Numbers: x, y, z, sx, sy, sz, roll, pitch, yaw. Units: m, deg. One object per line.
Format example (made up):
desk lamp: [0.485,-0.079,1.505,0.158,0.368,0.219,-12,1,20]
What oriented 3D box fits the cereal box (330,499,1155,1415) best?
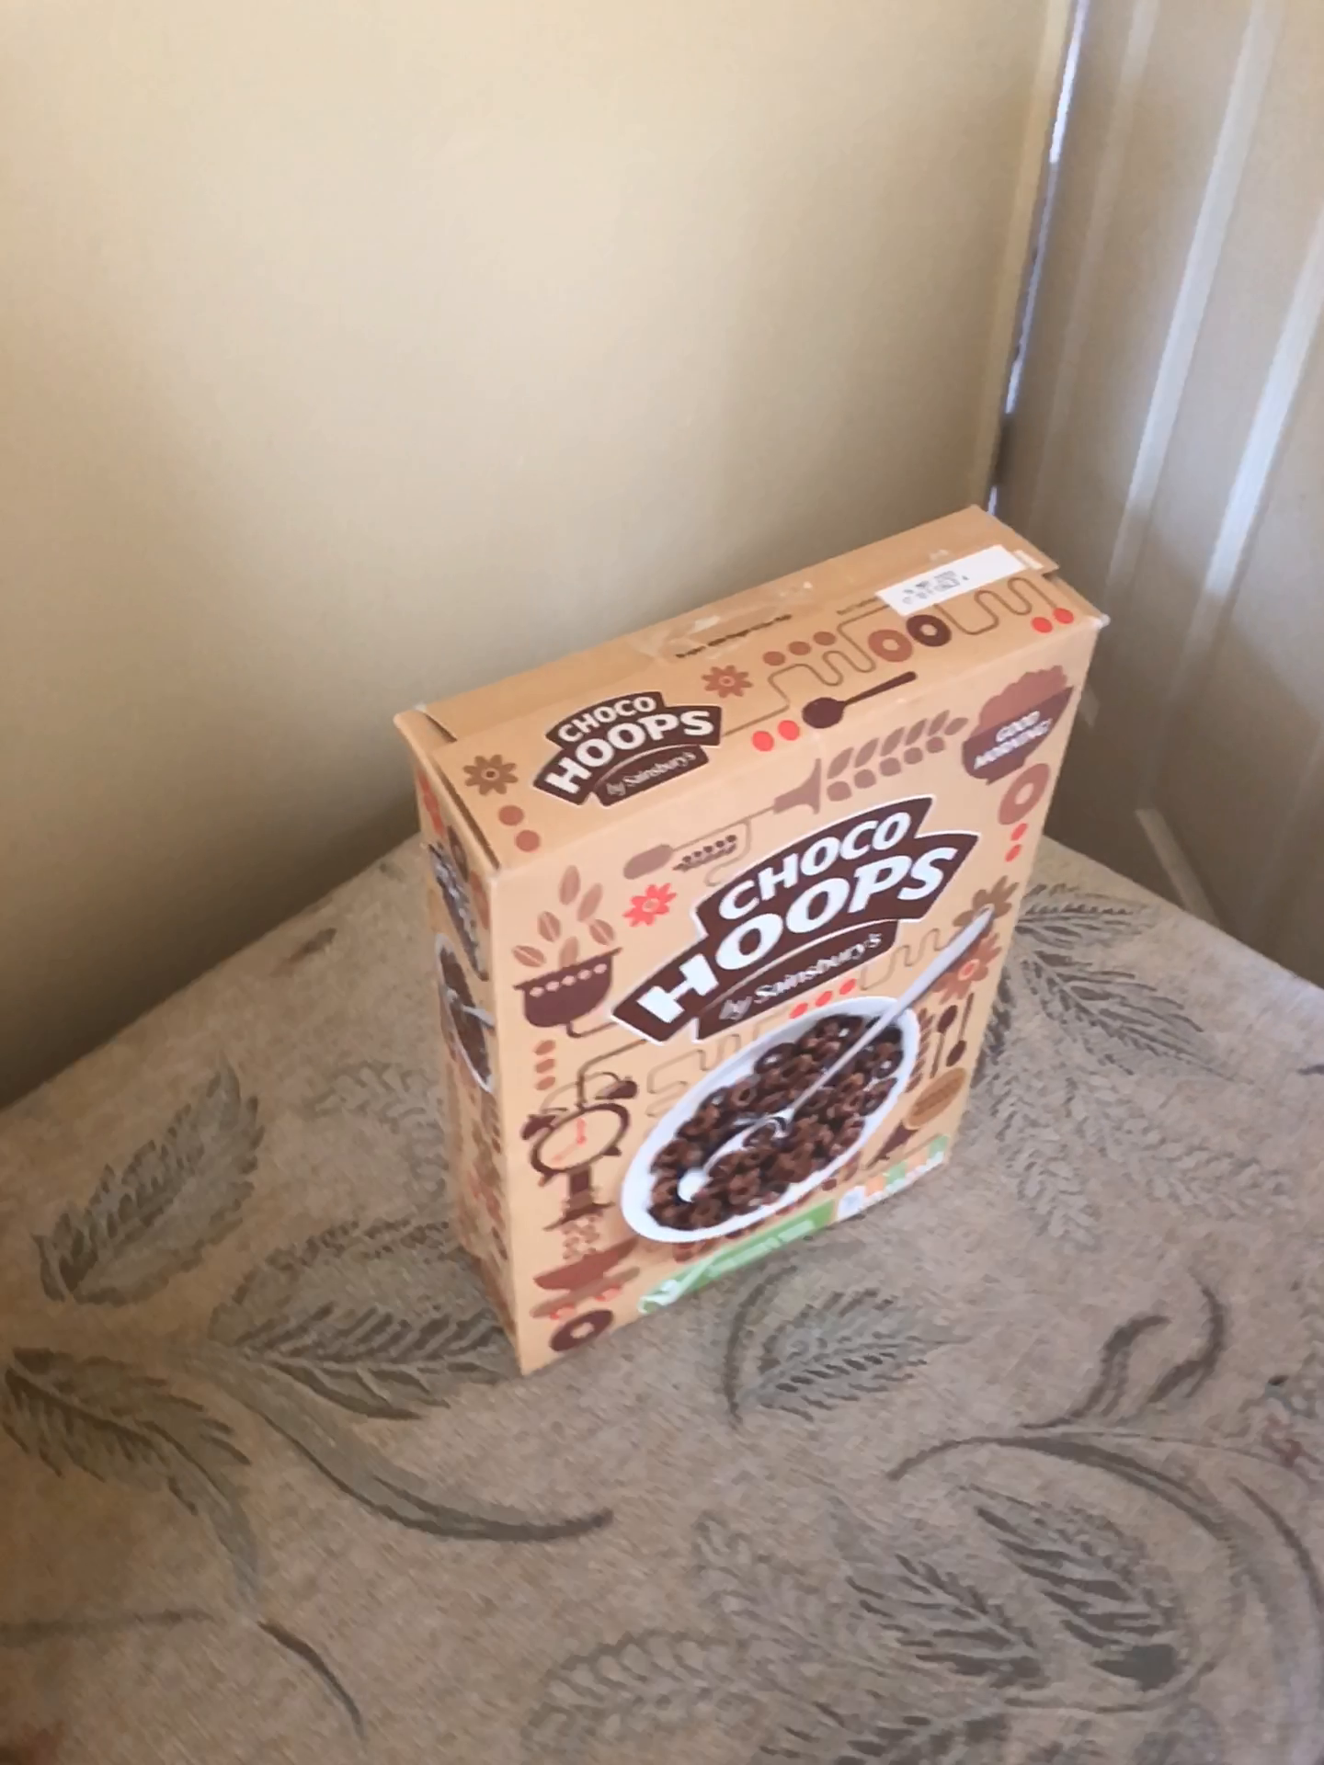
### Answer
cereal box: [0.024,0.034,0.484,0.210,0.258,0.080,-22,50,-21]
